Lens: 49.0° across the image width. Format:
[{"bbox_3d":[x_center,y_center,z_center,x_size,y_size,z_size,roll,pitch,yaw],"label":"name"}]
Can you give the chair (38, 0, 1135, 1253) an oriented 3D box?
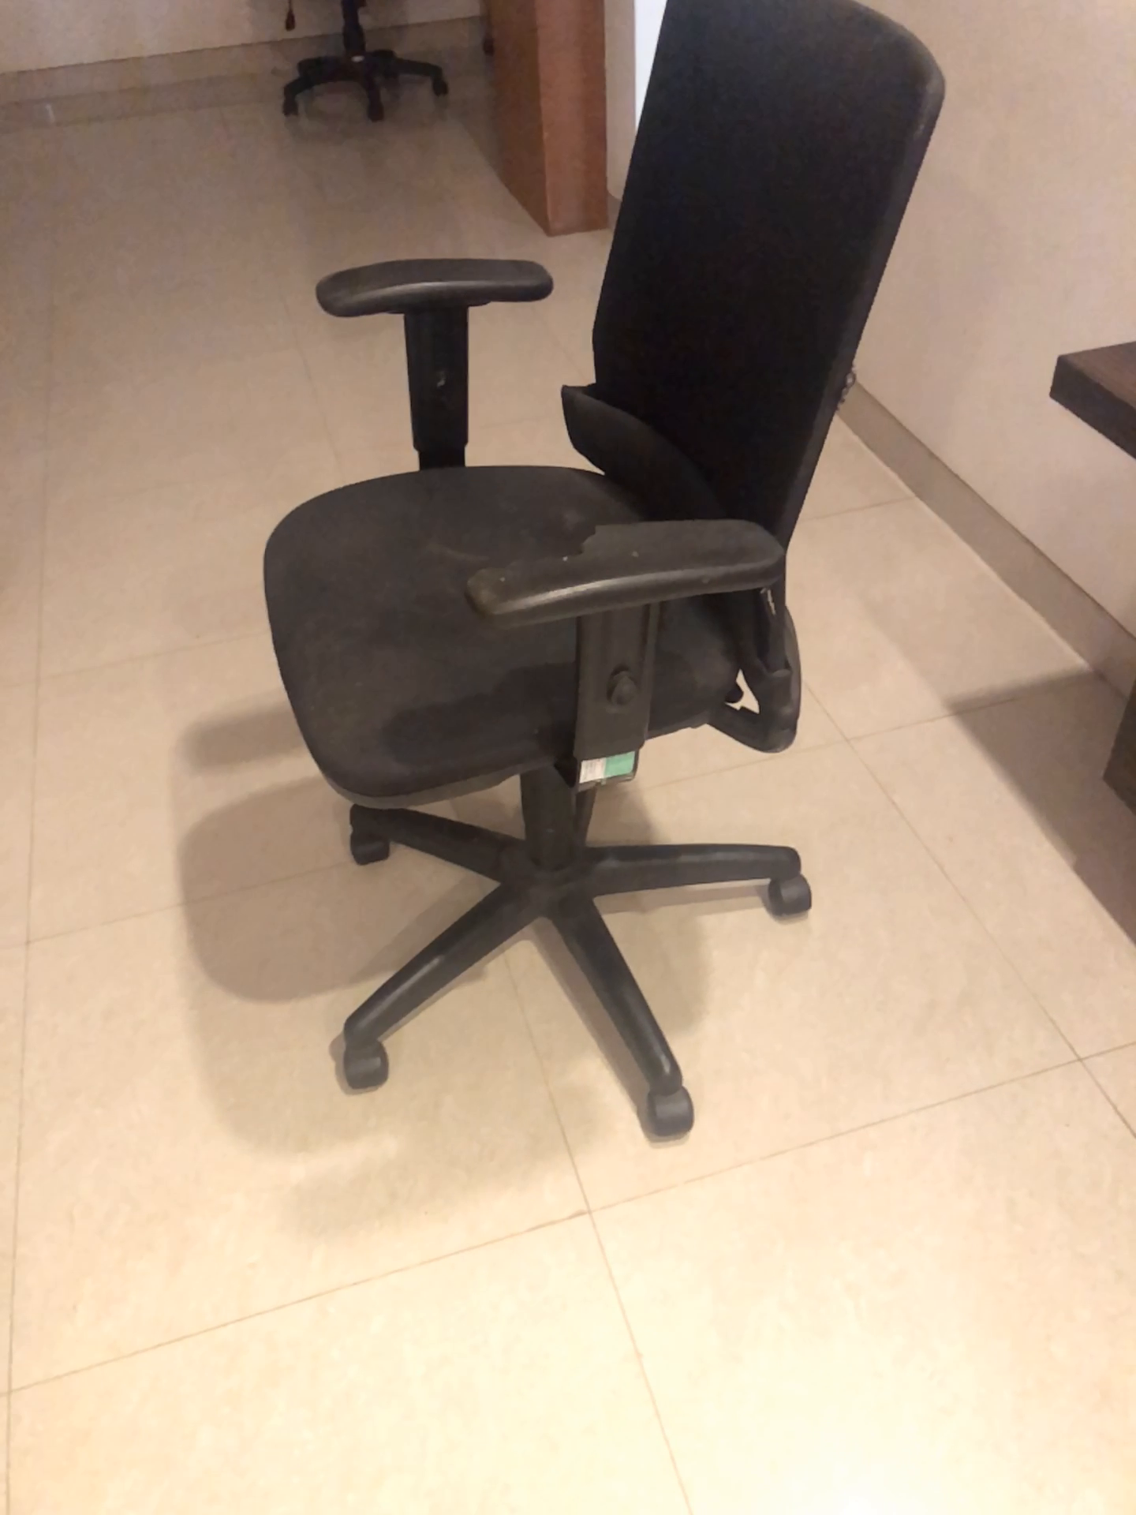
[{"bbox_3d":[-0.015,-0.174,1.312,0.700,1.042,0.715,-15,43,-12],"label":"chair"}]
